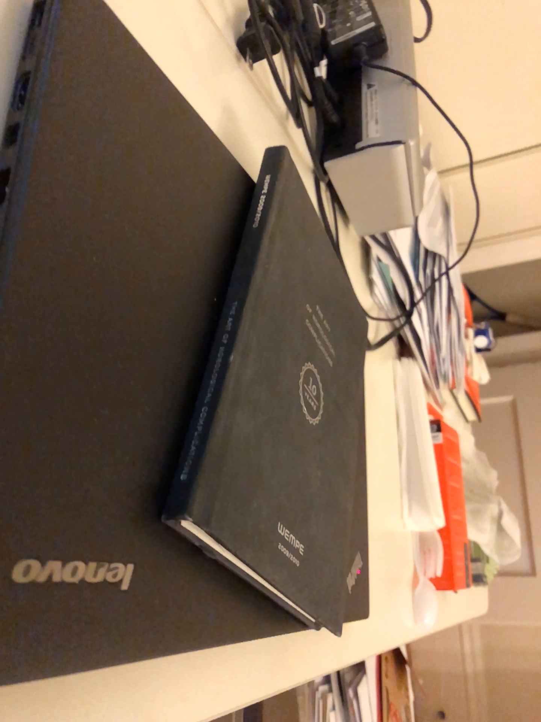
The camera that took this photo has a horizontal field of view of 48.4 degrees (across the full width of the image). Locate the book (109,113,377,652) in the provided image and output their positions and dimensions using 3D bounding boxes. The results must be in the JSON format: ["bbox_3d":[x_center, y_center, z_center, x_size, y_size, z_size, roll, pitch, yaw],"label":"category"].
[{"bbox_3d":[0.012,0.012,0.314,0.170,0.030,0.221,54,36,-45],"label":"book"}]
